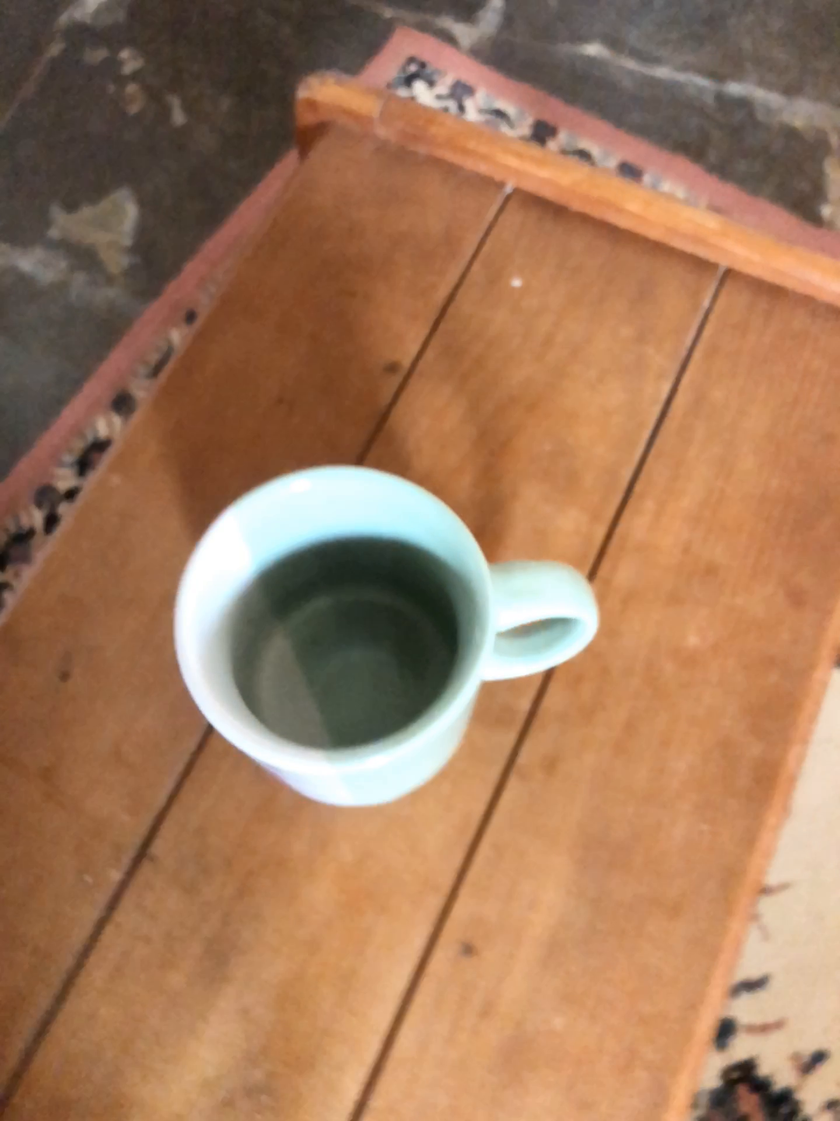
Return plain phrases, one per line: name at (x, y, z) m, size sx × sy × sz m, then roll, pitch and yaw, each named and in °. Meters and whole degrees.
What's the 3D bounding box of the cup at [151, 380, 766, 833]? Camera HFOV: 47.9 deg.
cup at (0.006, 0.019, 0.263) m, size 0.130 × 0.090 × 0.080 m, roll -11°, pitch 70°, yaw -3°
